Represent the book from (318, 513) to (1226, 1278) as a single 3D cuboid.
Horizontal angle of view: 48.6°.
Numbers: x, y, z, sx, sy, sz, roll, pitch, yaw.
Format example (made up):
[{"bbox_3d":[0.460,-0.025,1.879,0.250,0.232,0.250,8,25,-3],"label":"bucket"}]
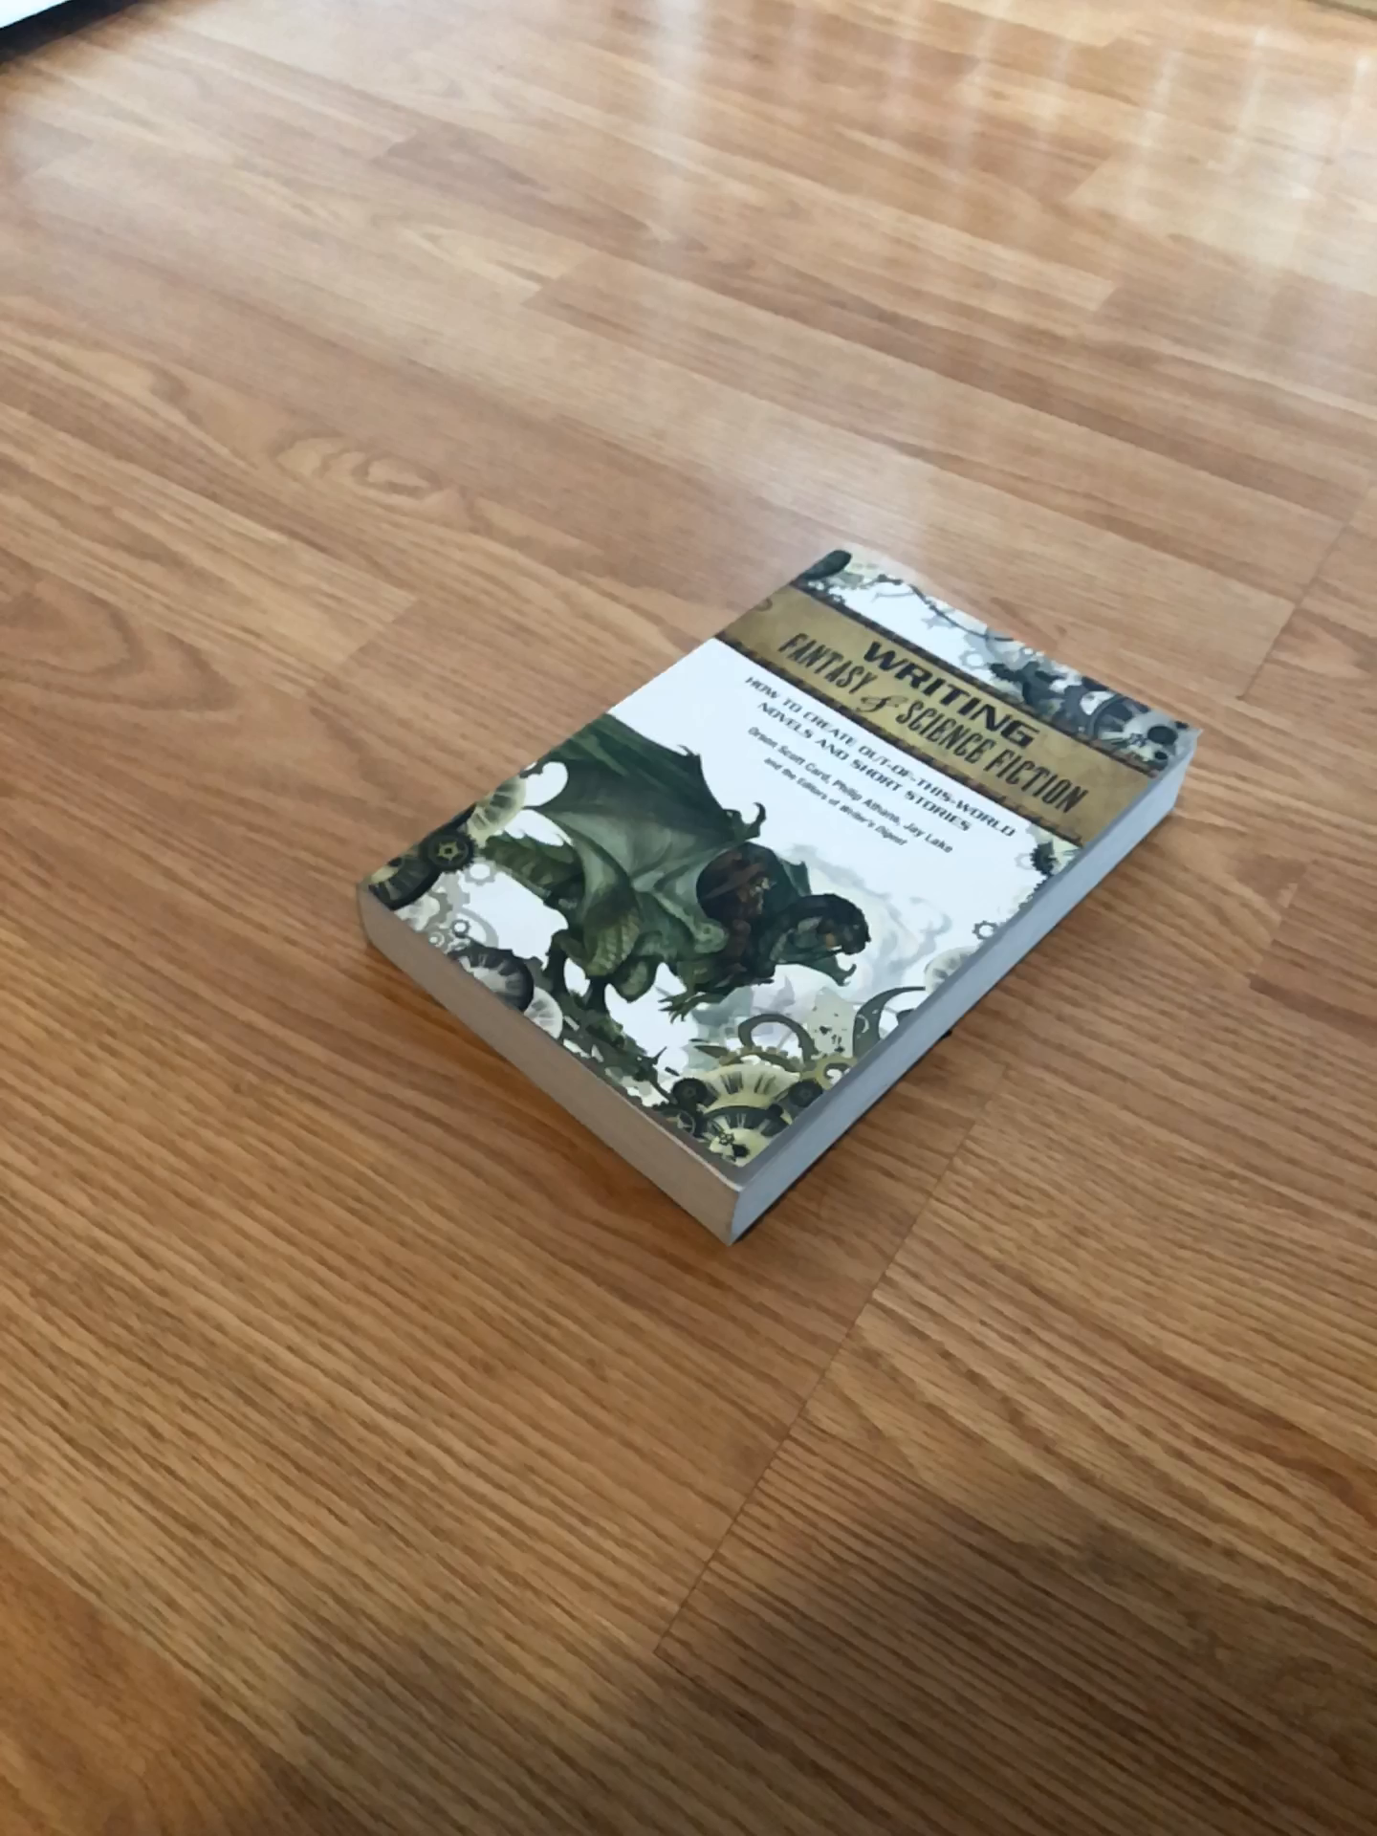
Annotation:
[{"bbox_3d":[0.031,-0.026,0.472,0.165,0.040,0.228,36,56,24],"label":"book"}]
